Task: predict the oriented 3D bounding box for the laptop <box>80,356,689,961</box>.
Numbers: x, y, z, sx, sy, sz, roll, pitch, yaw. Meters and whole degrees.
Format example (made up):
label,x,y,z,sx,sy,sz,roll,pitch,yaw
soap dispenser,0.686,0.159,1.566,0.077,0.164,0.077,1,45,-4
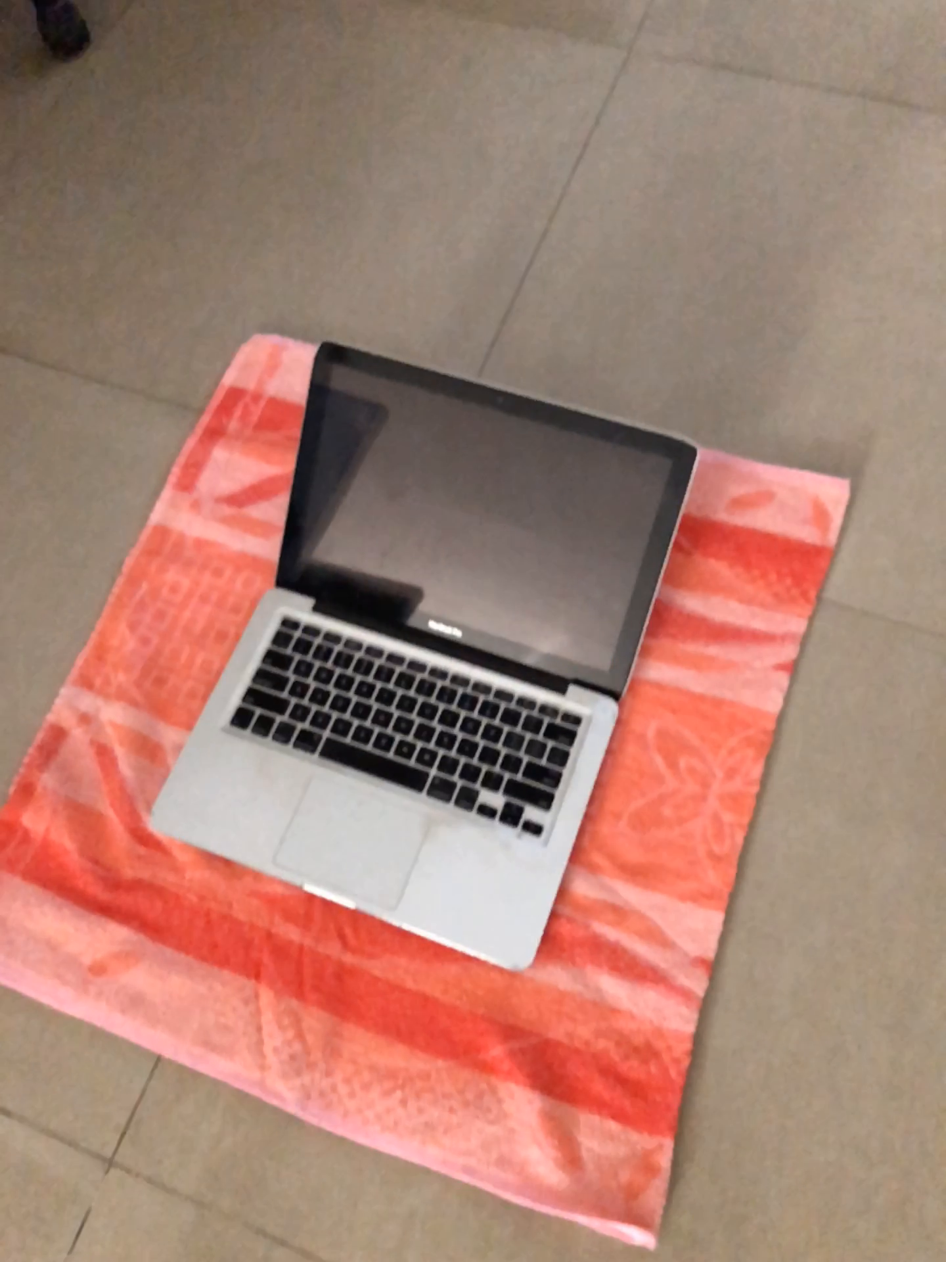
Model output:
label,x,y,z,sx,sy,sz,roll,pitch,yaw
laptop,-0.046,0.009,0.803,0.309,0.133,0.373,18,67,11
